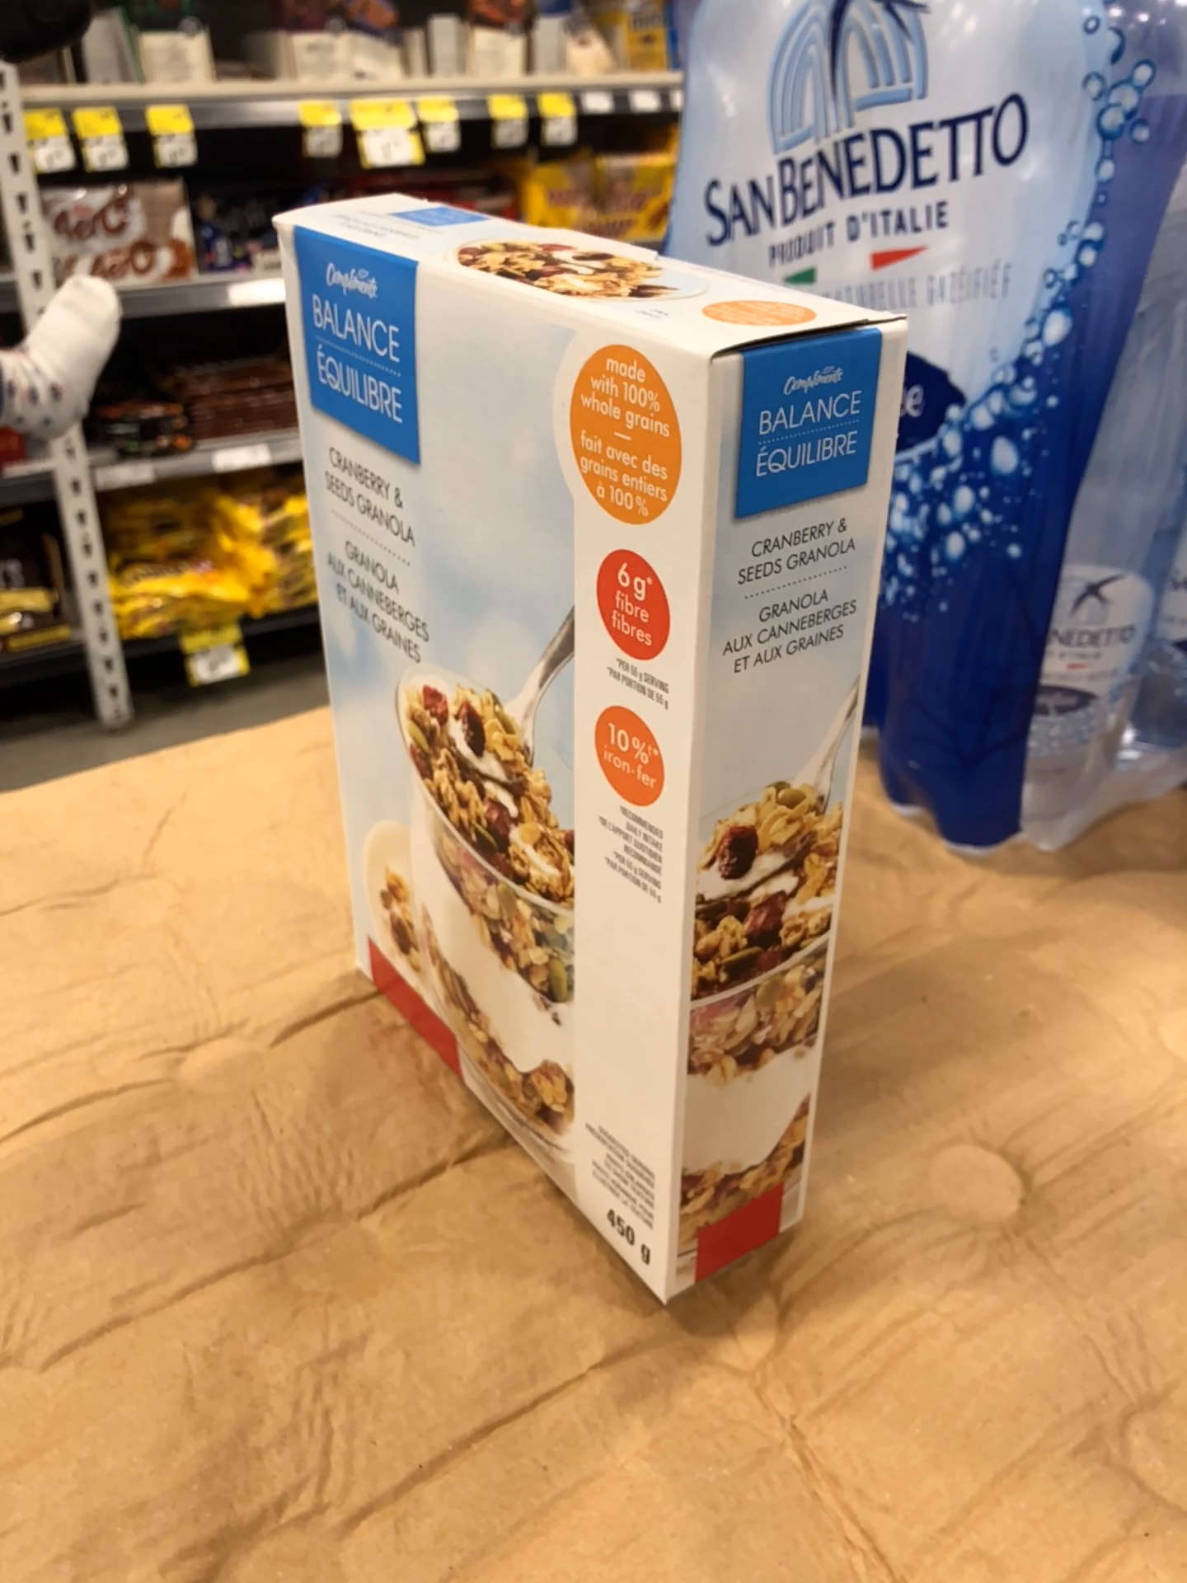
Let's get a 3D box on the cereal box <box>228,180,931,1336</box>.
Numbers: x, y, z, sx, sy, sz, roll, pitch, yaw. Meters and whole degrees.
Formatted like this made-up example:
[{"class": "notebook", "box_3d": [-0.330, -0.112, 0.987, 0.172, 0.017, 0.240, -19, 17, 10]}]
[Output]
[{"class": "cereal box", "box_3d": [-0.017, -0.016, 0.330, 0.050, 0.229, 0.181, -19, 36, -30]}]
